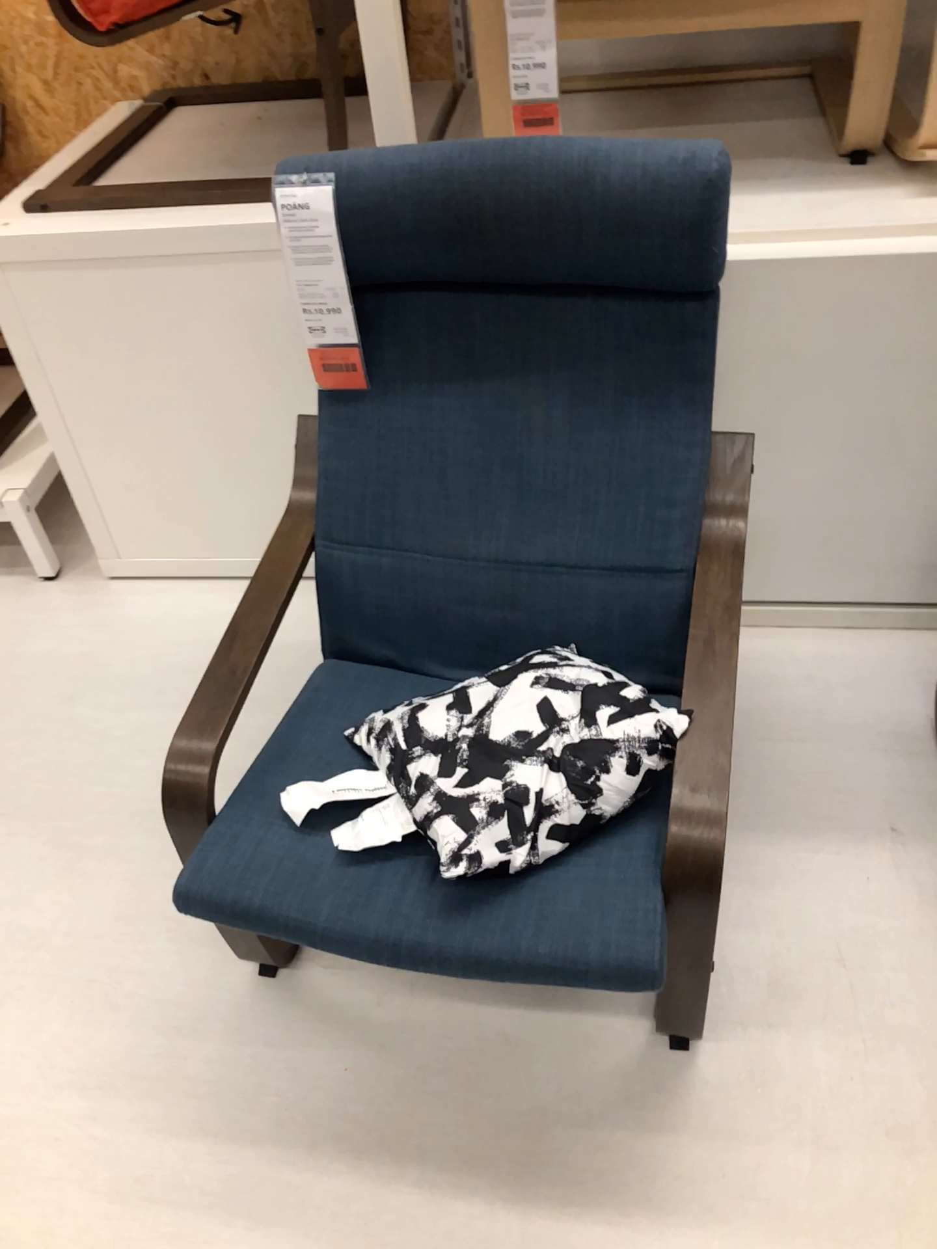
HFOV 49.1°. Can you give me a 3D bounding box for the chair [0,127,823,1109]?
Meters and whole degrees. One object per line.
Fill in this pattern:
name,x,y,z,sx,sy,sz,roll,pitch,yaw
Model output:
chair,-0.005,-0.021,1.260,0.721,0.884,0.694,6,43,15
